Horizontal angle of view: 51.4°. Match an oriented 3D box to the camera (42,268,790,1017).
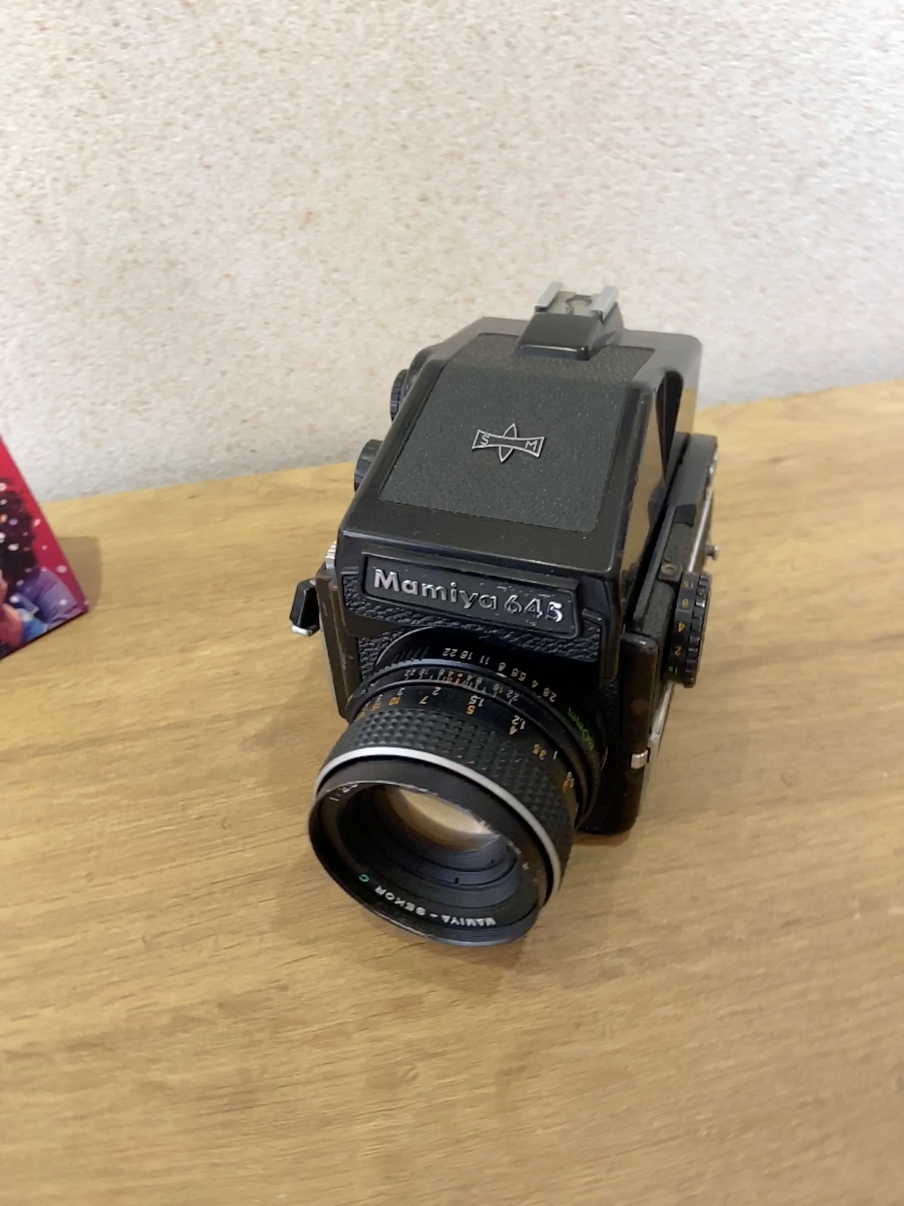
[{"bbox_3d":[0.010,-0.007,0.261,0.130,0.109,0.161,10,41,19],"label":"camera"}]
